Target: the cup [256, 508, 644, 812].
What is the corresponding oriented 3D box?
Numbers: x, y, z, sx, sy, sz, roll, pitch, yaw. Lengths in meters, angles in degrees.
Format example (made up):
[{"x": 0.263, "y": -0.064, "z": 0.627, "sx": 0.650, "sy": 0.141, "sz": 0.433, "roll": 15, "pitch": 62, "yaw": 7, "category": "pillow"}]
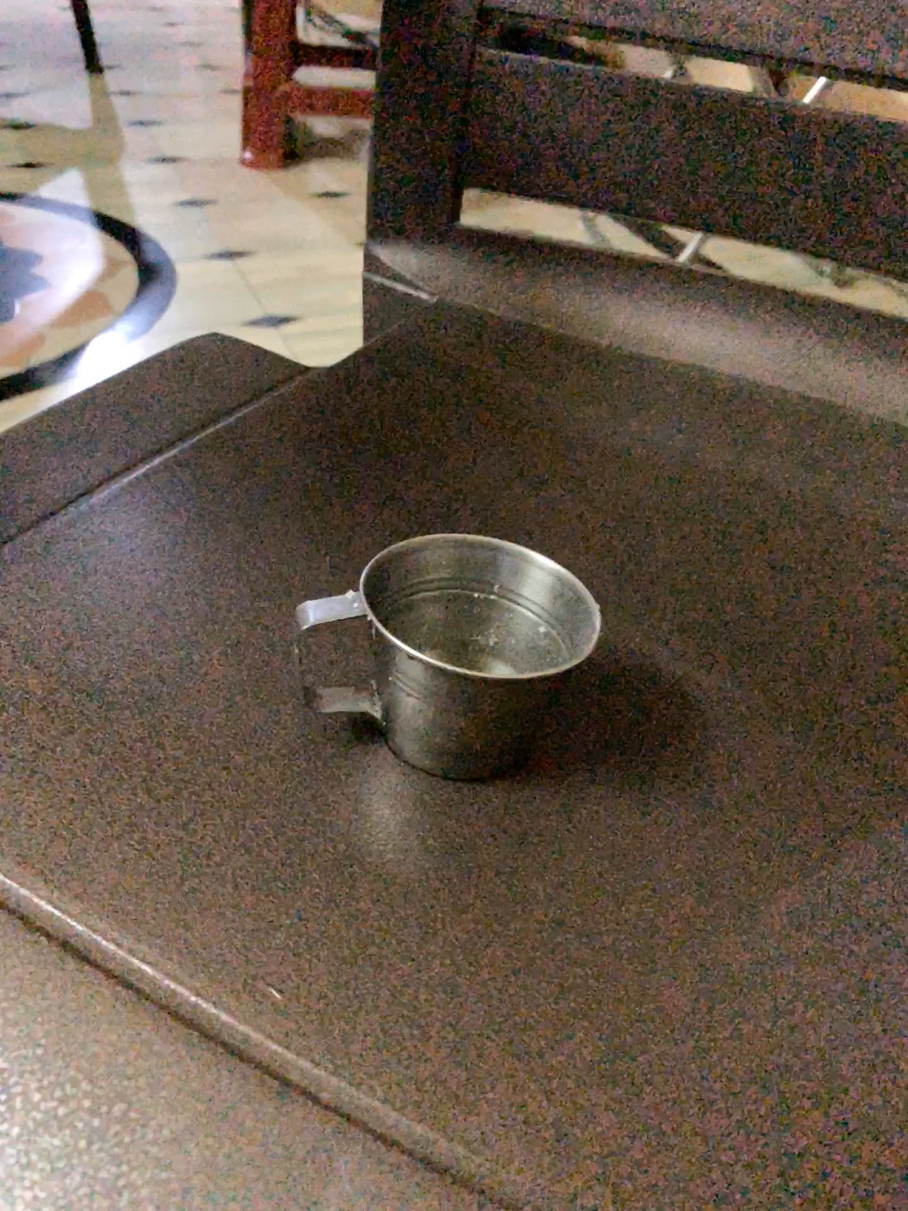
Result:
[{"x": -0.006, "y": 0.010, "z": 0.231, "sx": 0.080, "sy": 0.040, "sz": 0.060, "roll": -2, "pitch": 41, "yaw": -14, "category": "cup"}]
